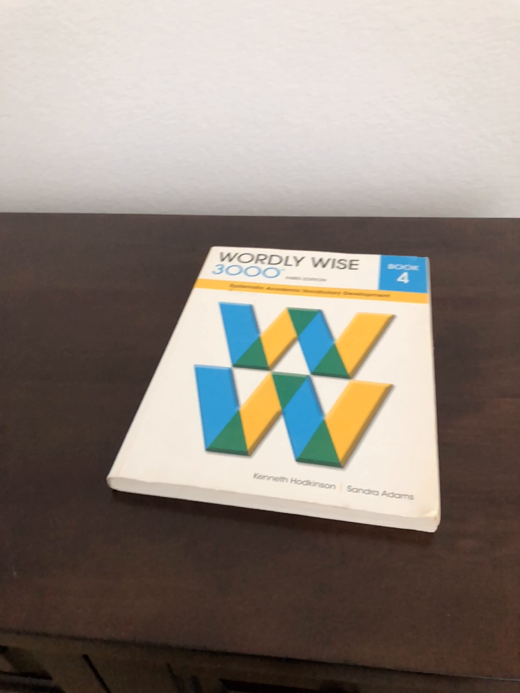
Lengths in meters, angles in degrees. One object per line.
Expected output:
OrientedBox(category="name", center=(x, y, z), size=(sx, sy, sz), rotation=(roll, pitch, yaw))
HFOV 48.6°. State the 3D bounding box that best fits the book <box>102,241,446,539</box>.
OrientedBox(category="book", center=(0.030, 0.006, 0.460), size=(0.217, 0.020, 0.275), rotation=(5, 45, 10))
